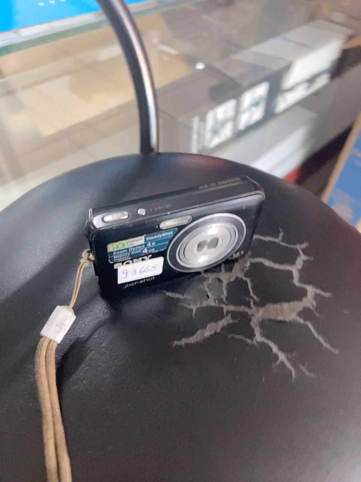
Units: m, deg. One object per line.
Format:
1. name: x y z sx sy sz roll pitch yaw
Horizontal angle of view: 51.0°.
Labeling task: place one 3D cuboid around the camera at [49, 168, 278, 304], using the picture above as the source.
1. camera: -0.007 -0.003 0.202 0.110 0.050 0.020 -14 50 -15
